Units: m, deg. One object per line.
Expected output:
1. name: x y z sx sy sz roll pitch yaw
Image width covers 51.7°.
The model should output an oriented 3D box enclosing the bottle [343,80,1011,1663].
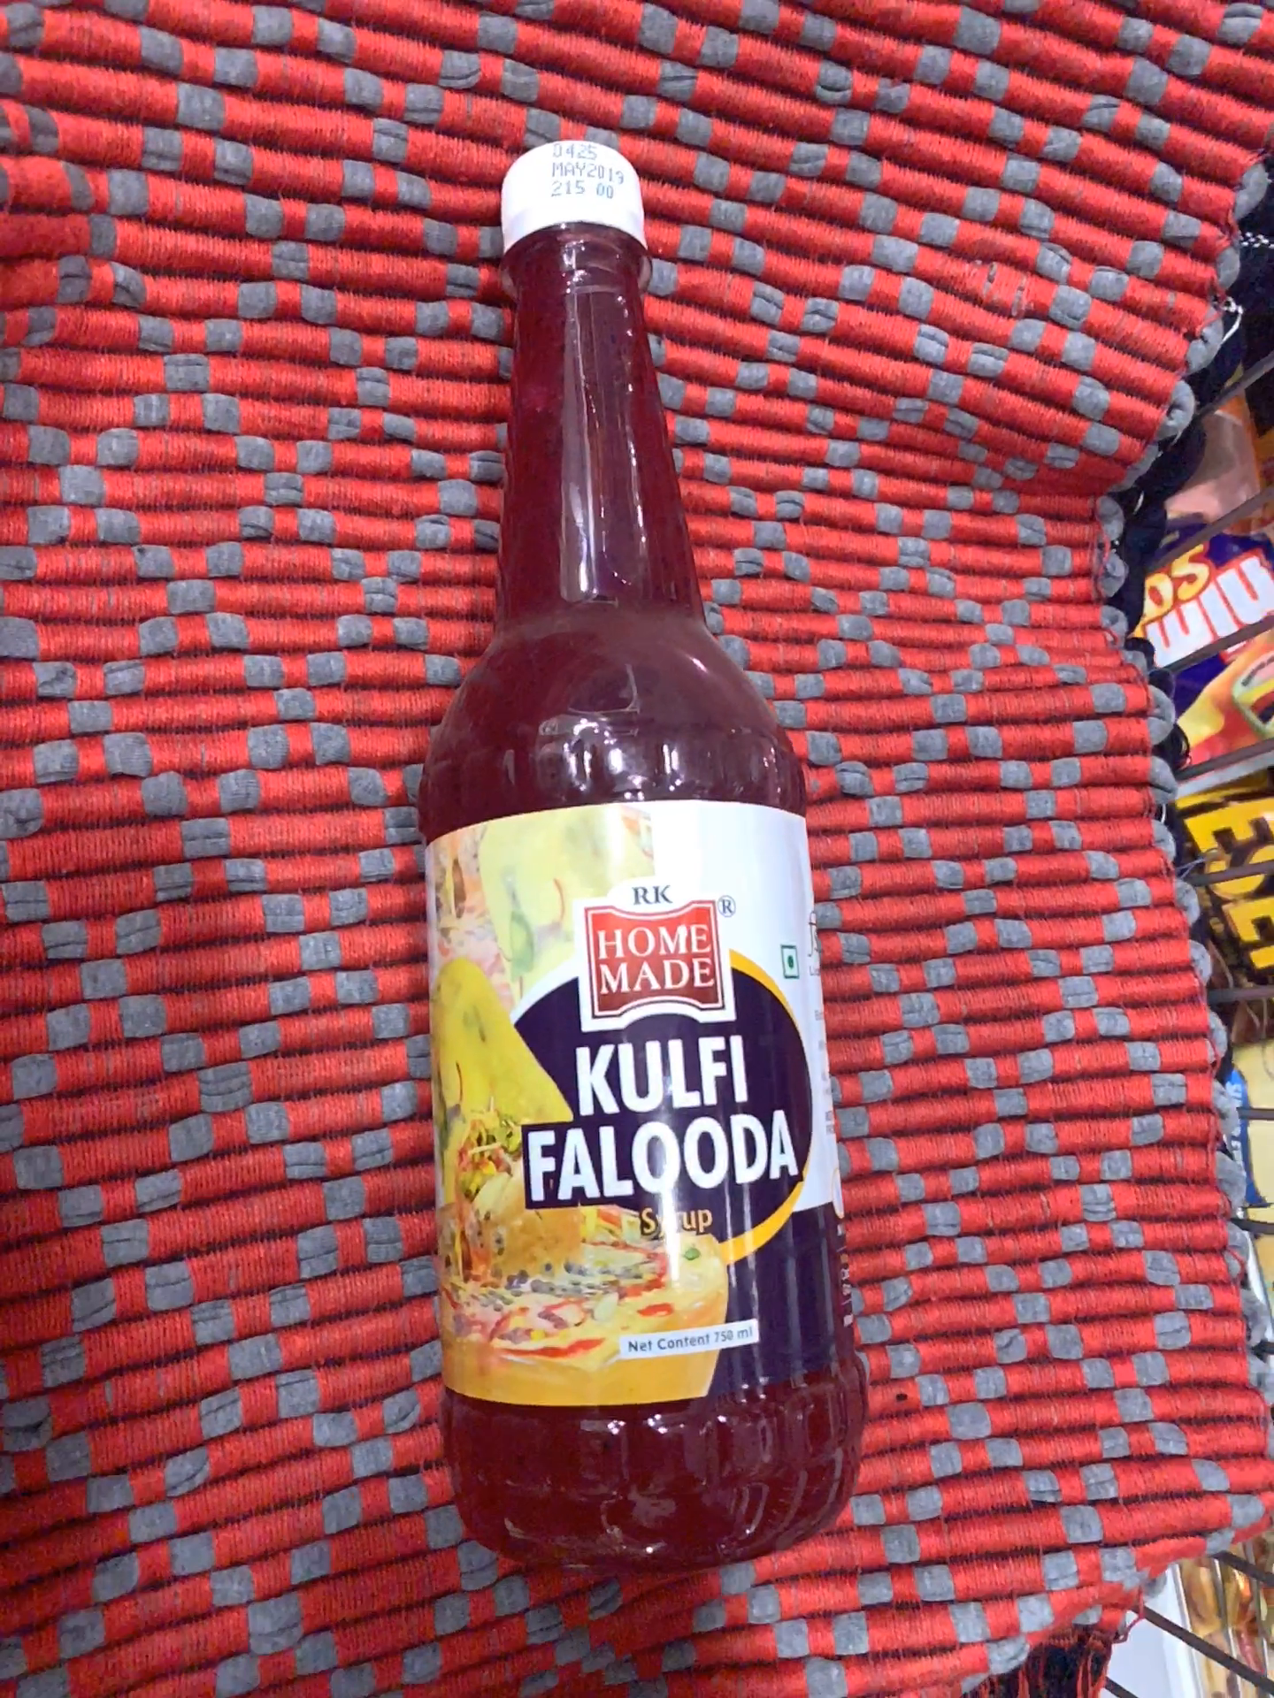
1. bottle: -0.006 -0.008 0.242 0.070 0.070 0.250 0 72 -22
